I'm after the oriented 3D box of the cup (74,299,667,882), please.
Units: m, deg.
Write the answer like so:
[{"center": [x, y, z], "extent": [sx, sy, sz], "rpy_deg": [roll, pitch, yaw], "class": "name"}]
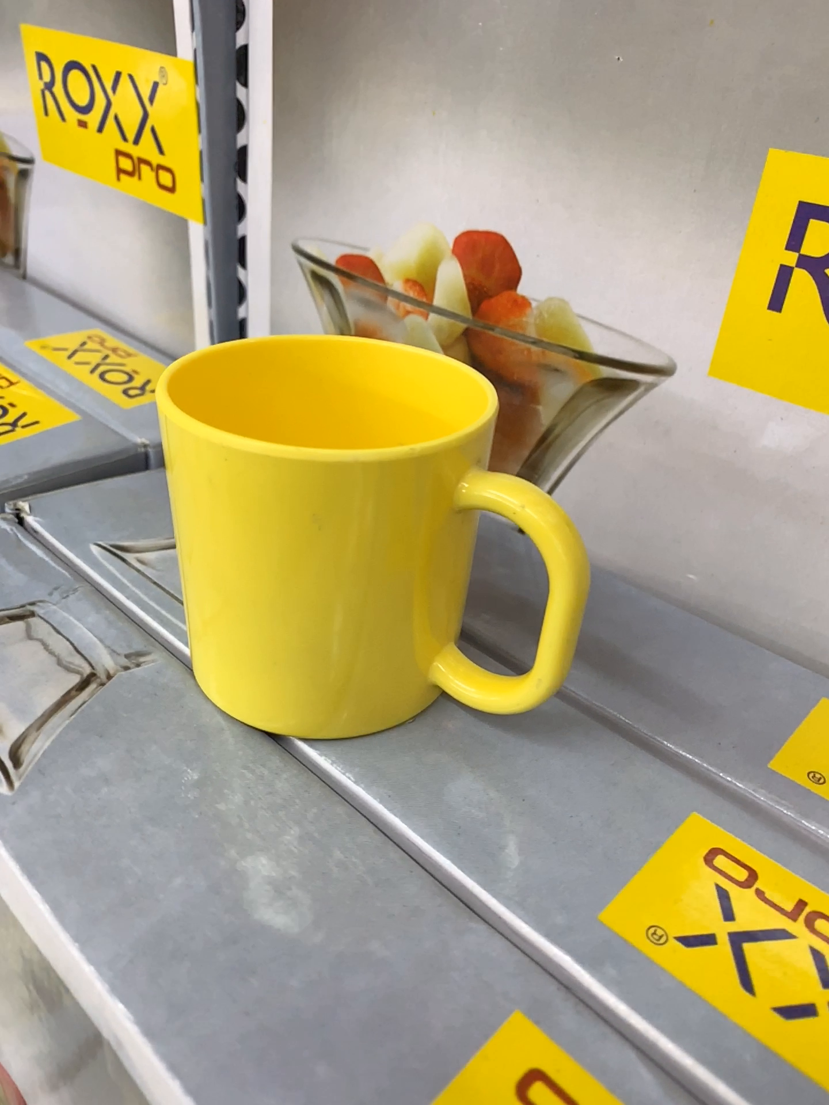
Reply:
[{"center": [-0.011, -0.001, 0.199], "extent": [0.100, 0.079, 0.070], "rpy_deg": [24, 35, 27], "class": "cup"}]
